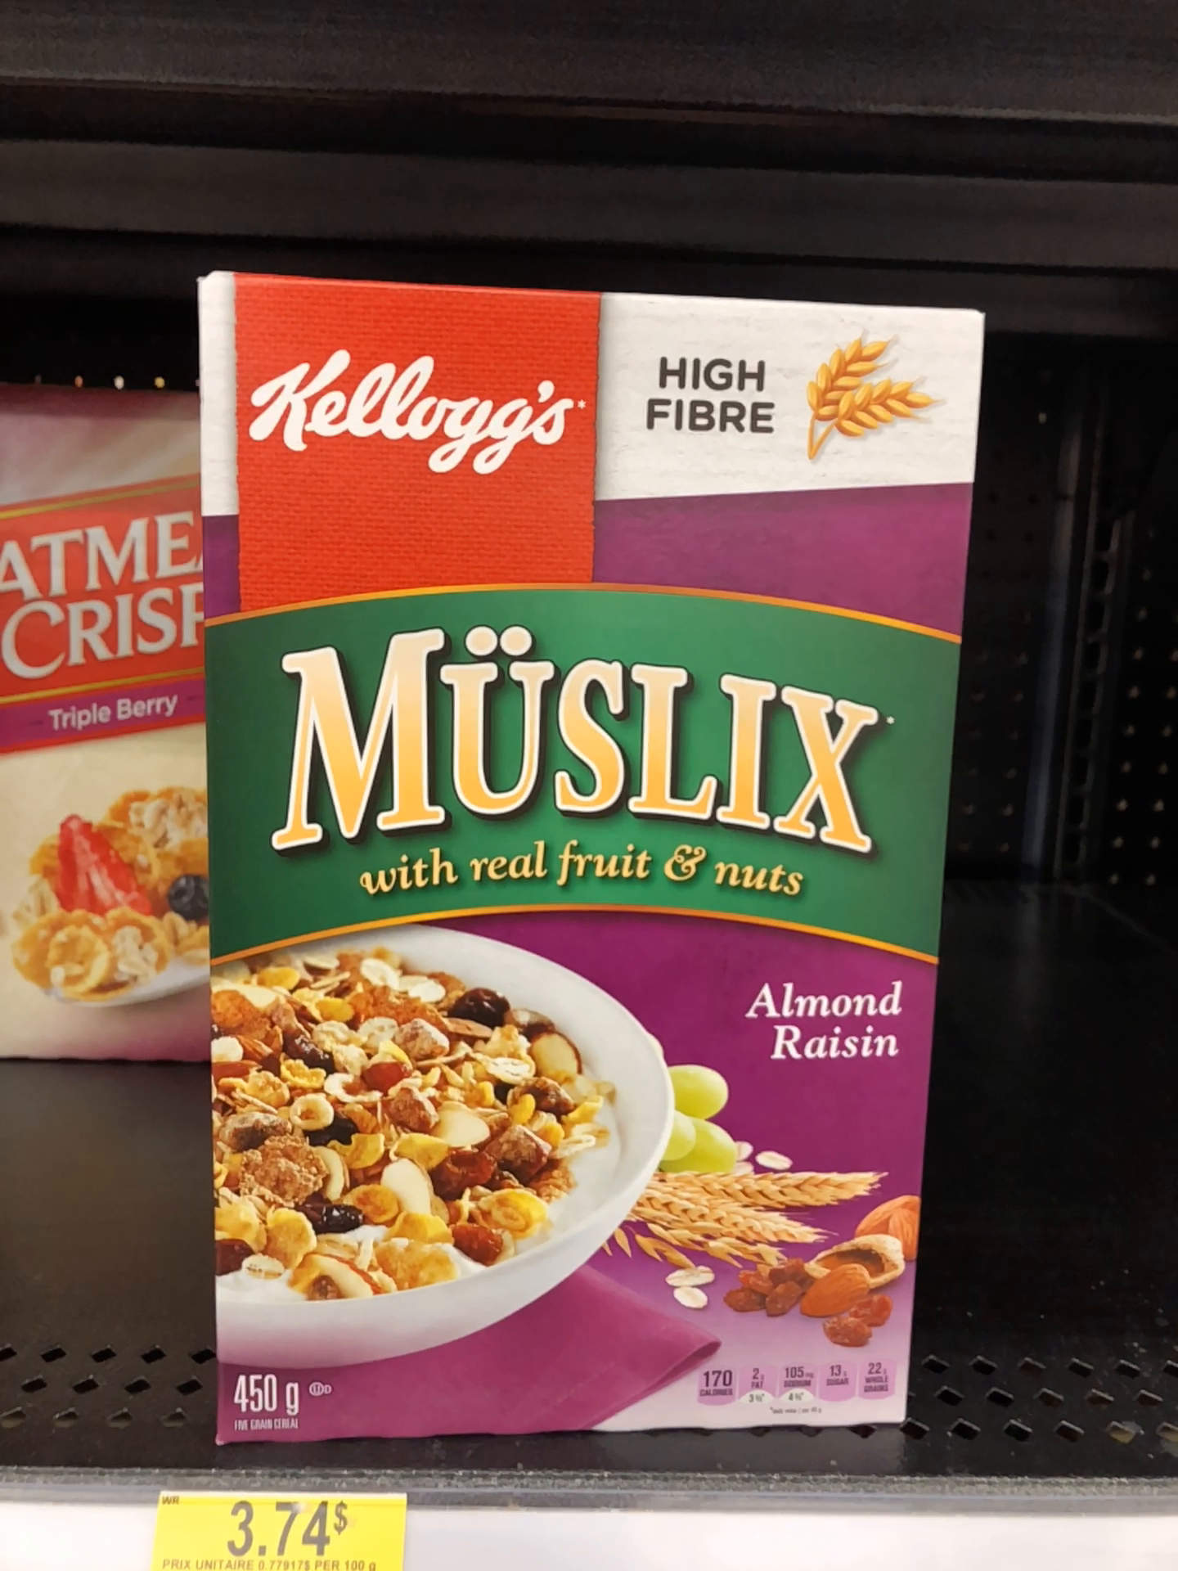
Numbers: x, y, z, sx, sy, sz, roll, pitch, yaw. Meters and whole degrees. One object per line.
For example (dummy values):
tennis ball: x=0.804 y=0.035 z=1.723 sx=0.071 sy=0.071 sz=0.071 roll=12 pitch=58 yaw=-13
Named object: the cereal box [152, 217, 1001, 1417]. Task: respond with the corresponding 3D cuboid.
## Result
cereal box: x=-0.007 y=0.013 z=0.314 sx=0.170 sy=0.259 sz=0.060 roll=1 pitch=10 yaw=-4
